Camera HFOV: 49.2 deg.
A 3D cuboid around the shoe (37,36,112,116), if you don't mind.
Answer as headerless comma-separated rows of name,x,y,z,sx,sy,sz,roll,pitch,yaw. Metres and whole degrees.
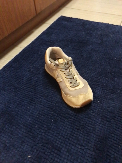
shoe,0.027,-0.039,0.484,0.130,0.099,0.281,-20,49,-15
